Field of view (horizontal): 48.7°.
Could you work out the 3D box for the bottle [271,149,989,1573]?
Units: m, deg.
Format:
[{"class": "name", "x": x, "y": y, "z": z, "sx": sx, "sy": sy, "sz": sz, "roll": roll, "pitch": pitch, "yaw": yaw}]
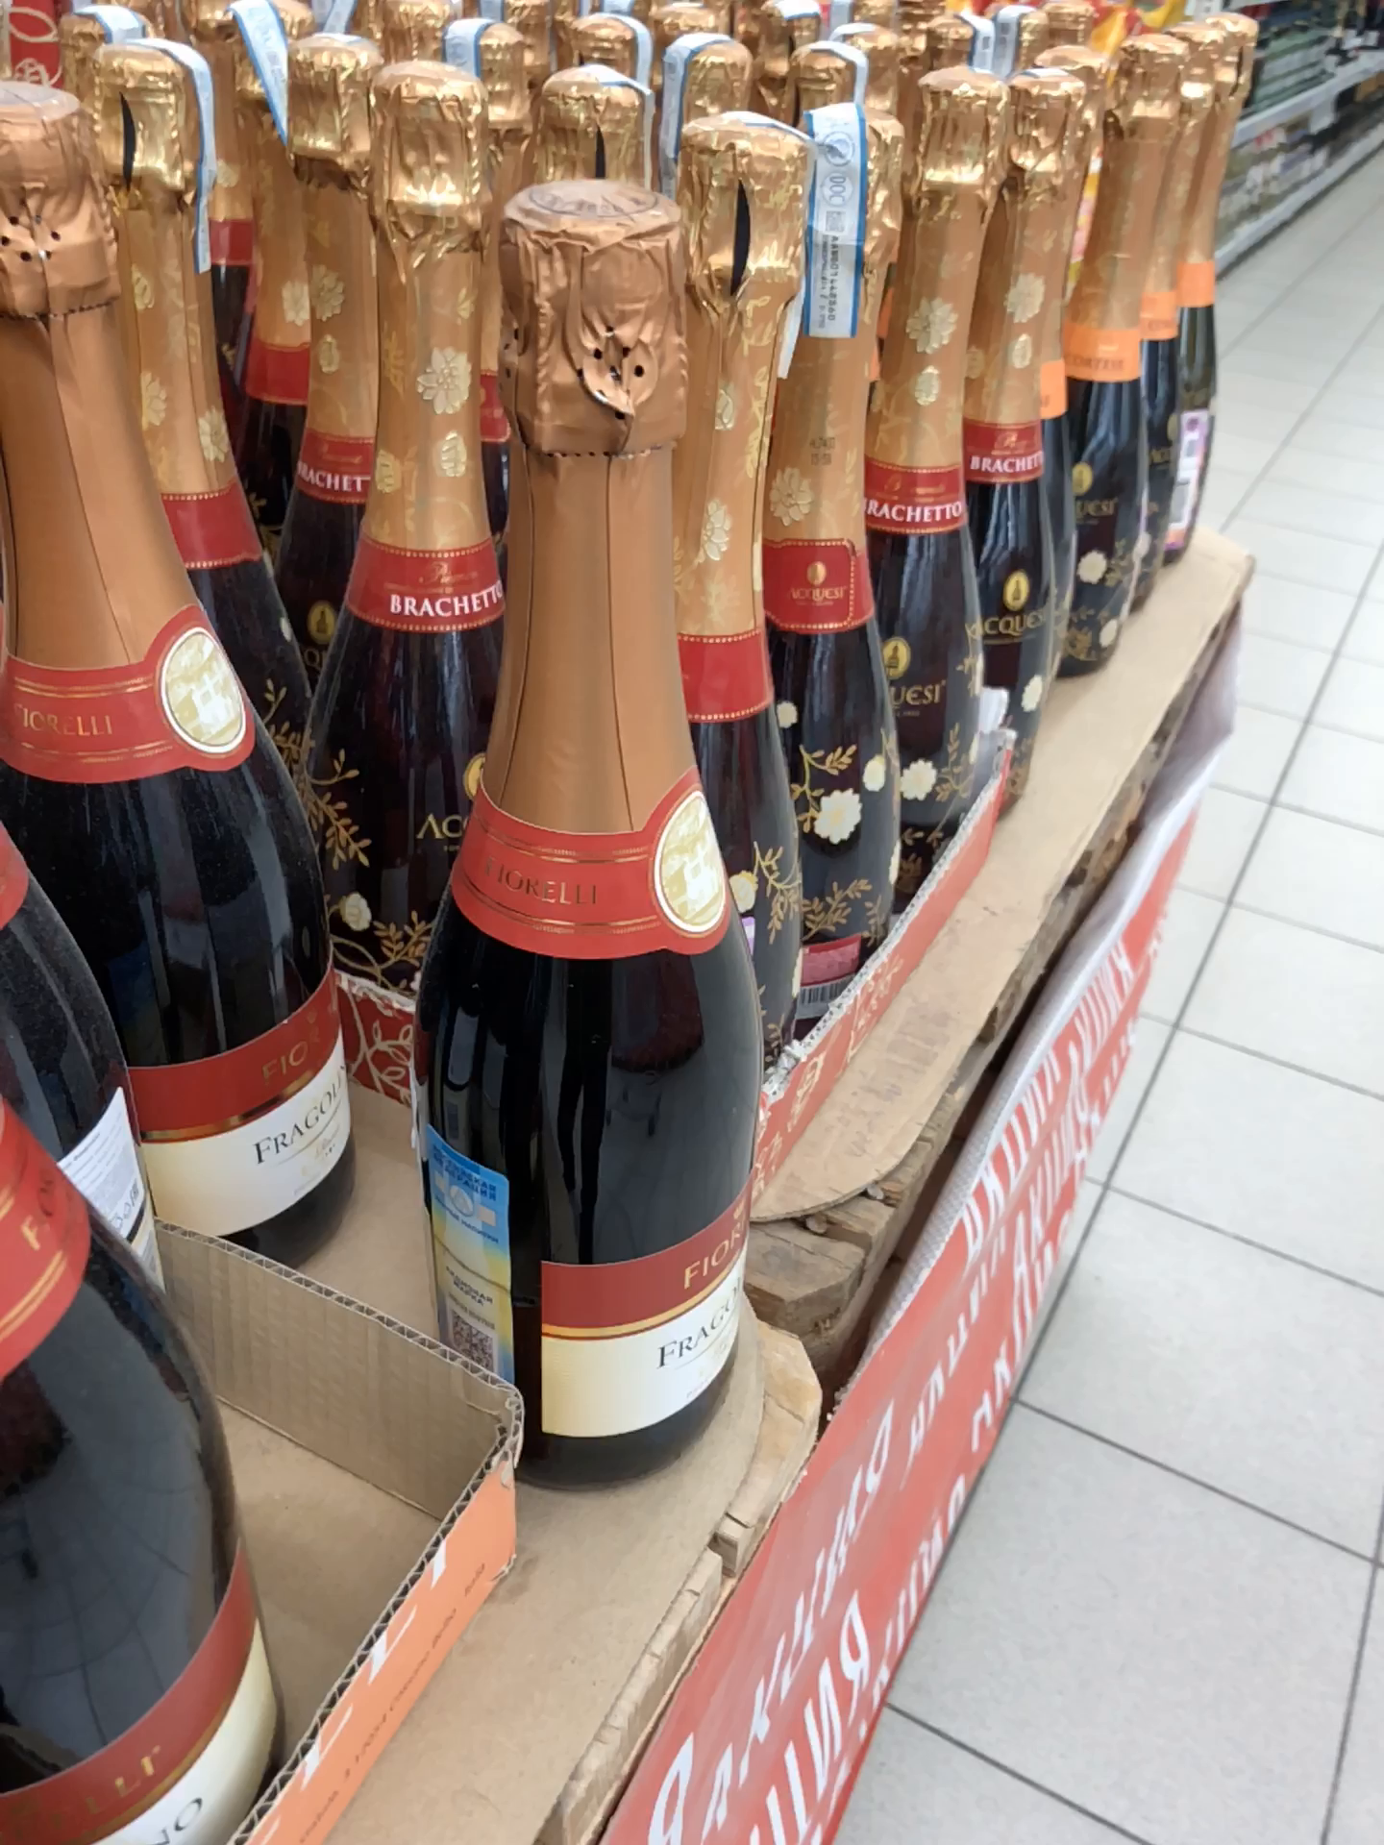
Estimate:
[{"class": "bottle", "x": -0.016, "y": 0.003, "z": 0.343, "sx": 0.090, "sy": 0.298, "sz": 0.090, "roll": 3, "pitch": 35, "yaw": -2}]
